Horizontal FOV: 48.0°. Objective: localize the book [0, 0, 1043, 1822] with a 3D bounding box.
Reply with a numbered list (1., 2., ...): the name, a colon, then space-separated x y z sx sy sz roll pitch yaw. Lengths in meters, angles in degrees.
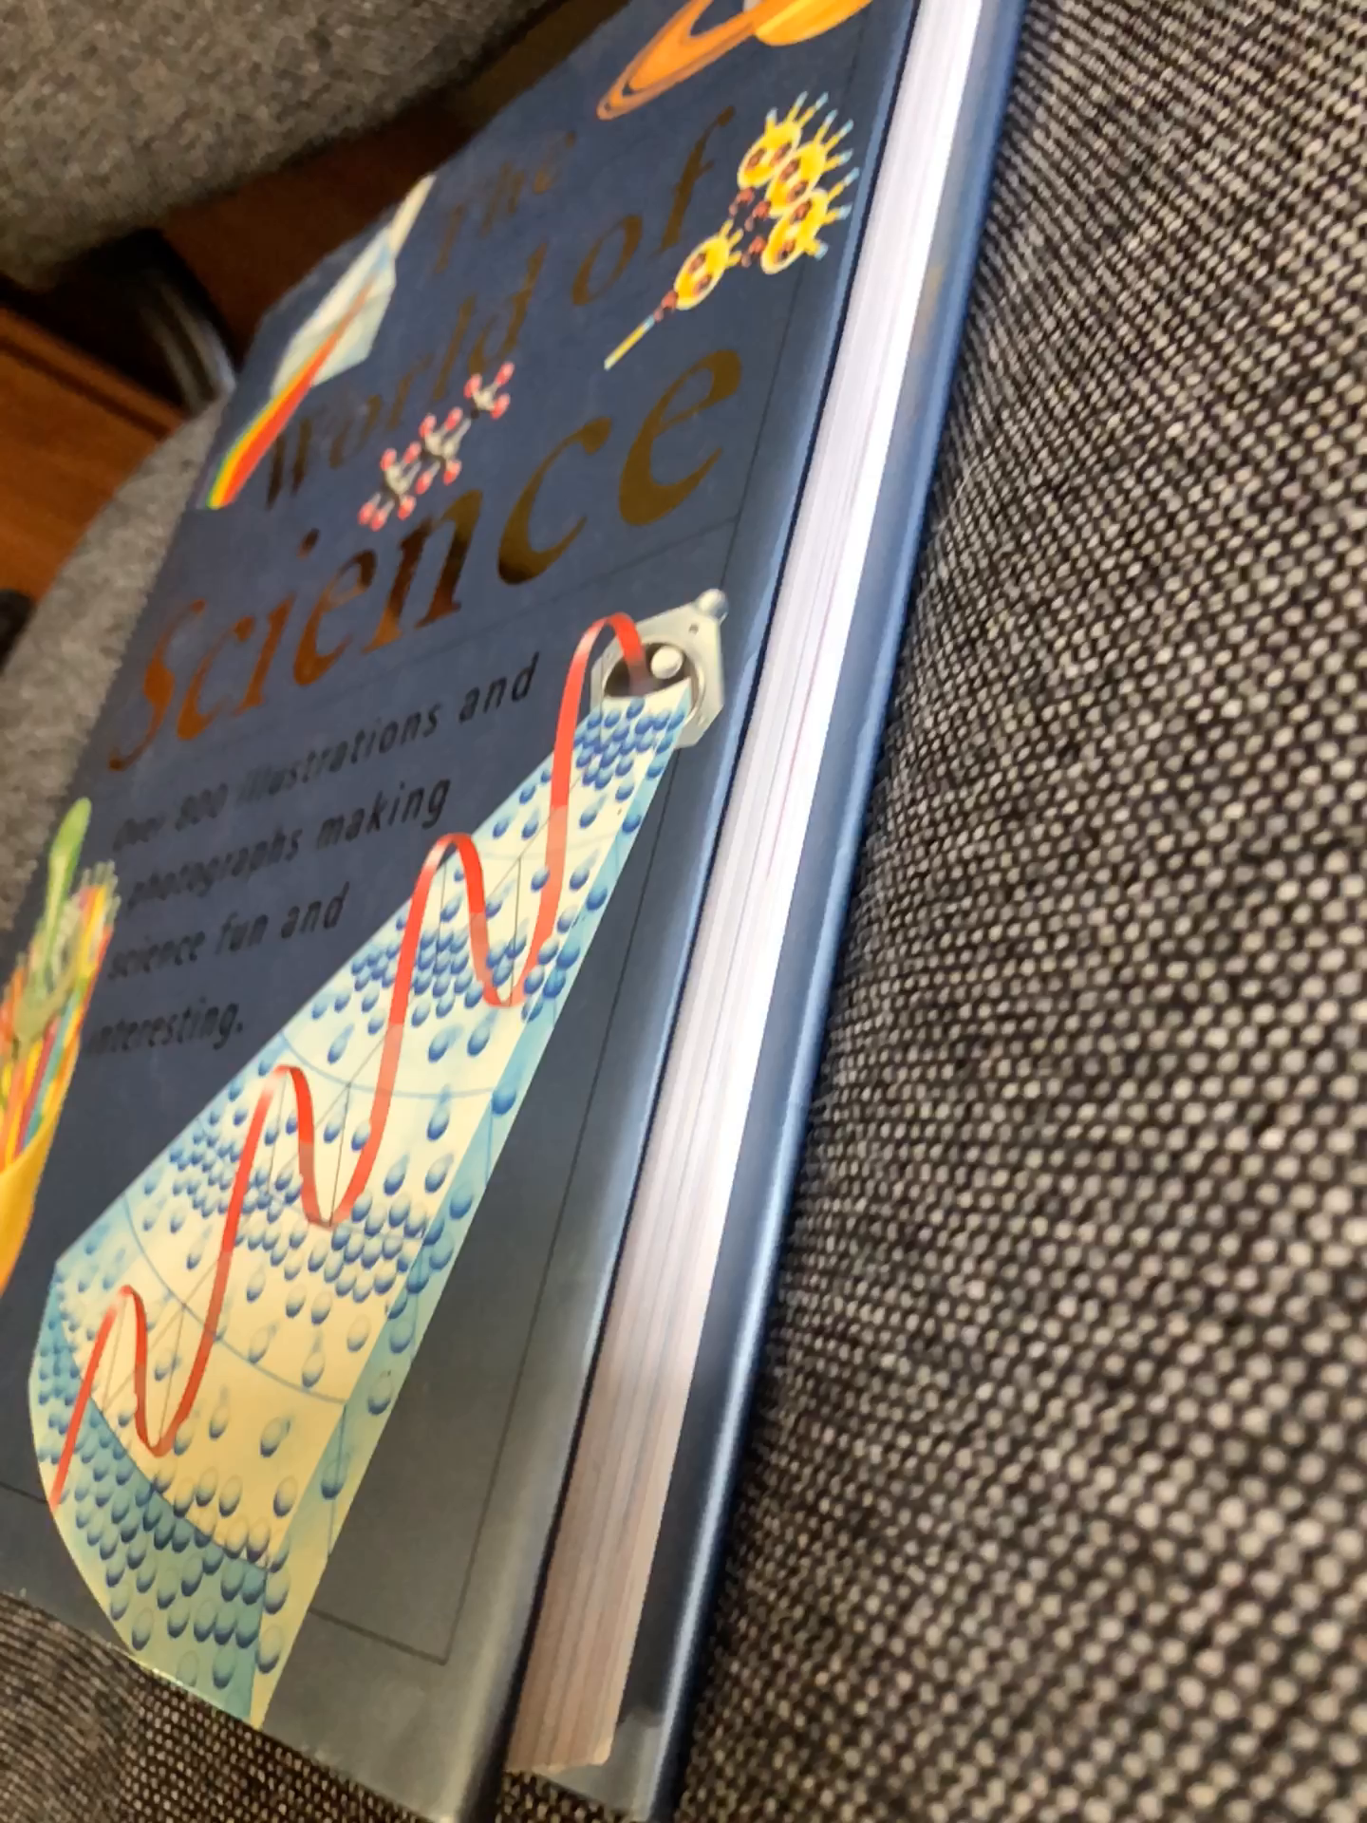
1. book: -0.056 -0.029 0.259 0.221 0.030 0.276 -12 58 45
